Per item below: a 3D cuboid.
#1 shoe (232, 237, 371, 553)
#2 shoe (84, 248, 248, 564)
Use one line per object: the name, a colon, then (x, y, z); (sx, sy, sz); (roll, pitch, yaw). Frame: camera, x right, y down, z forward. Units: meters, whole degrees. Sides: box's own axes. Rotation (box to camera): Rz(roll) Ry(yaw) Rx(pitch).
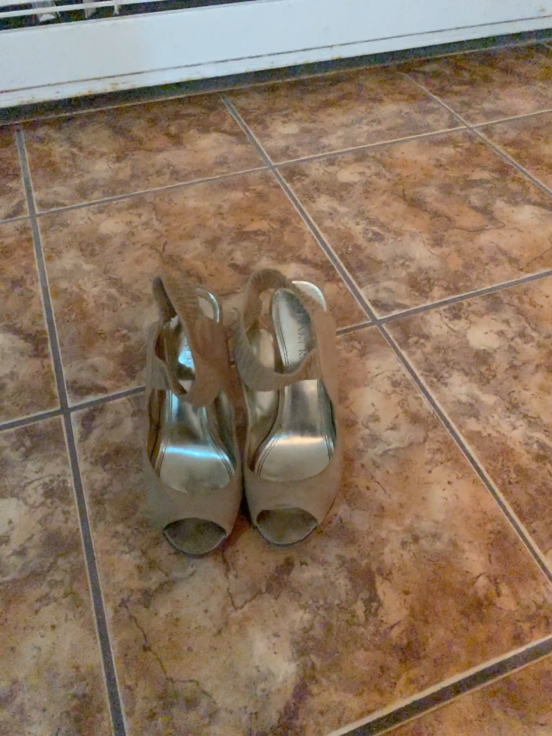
shoe: (0.016, 0.018, 0.451); (0.081, 0.150, 0.205); (0, 49, 1)
shoe: (-0.070, 0.026, 0.448); (0.081, 0.140, 0.210); (0, 49, 1)
